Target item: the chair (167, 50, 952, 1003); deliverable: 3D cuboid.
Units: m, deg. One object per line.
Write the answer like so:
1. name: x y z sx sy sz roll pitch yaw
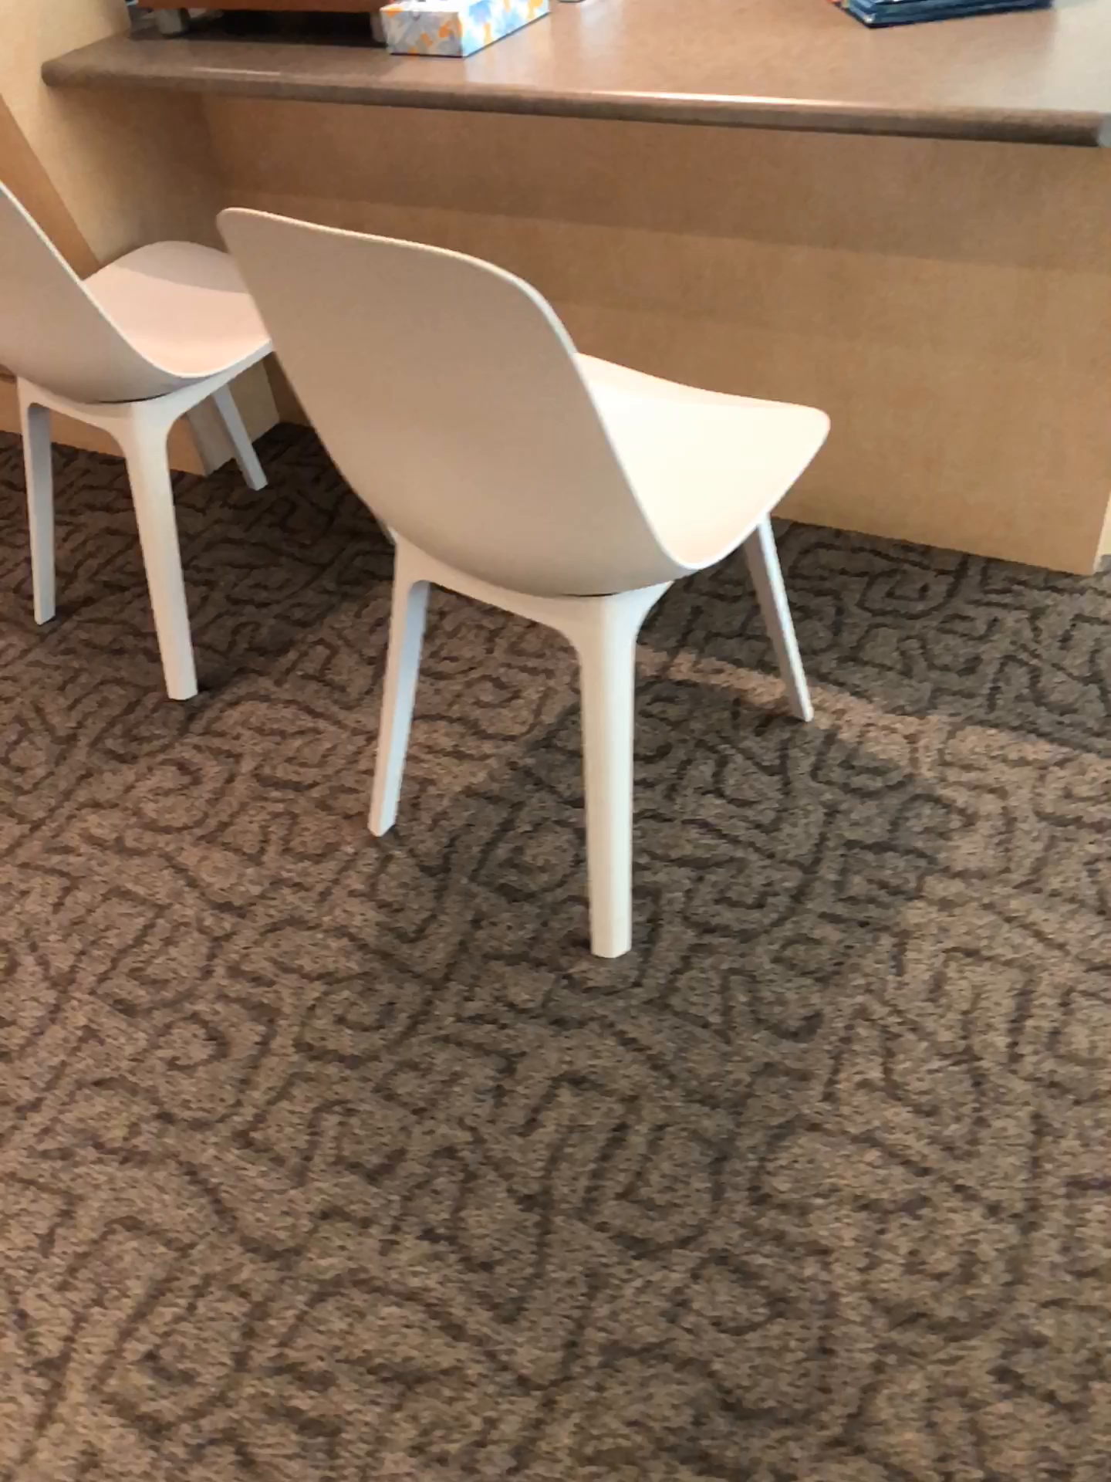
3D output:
1. chair: 0.050 -0.245 1.365 0.482 0.794 0.552 24 50 30
